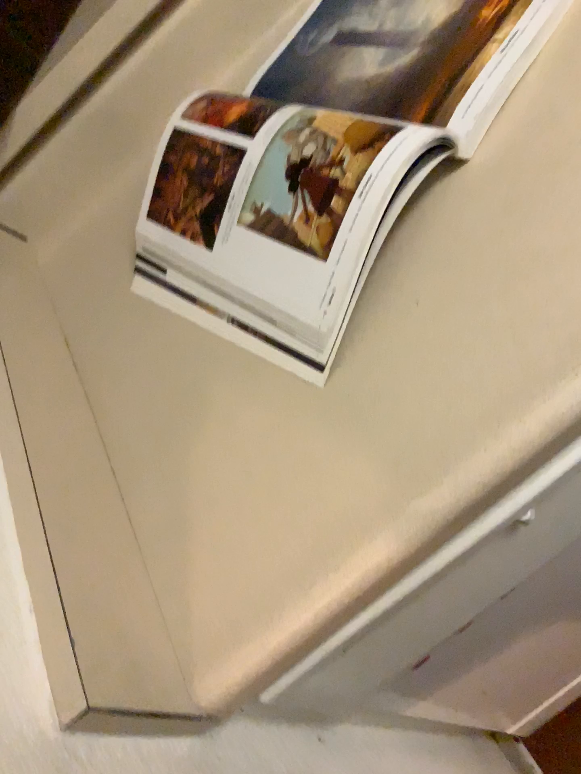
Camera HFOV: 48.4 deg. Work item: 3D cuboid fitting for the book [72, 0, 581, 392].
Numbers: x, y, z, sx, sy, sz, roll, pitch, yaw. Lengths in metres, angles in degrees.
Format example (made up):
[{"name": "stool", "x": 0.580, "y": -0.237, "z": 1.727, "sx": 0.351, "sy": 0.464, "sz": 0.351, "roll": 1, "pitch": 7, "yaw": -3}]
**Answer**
[{"name": "book", "x": 0.025, "y": -0.256, "z": 0.596, "sx": 0.320, "sy": 0.070, "sz": 0.450, "roll": 29, "pitch": 83, "yaw": 41}]
